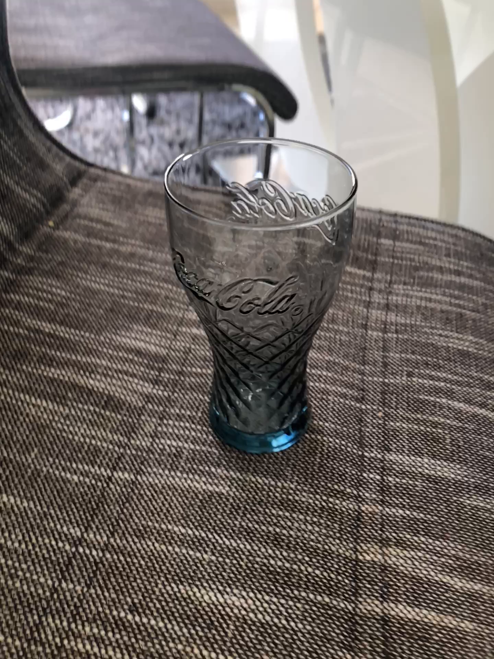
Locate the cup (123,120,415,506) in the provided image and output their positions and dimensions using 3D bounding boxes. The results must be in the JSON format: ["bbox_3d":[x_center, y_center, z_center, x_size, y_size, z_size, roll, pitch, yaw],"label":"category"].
[{"bbox_3d":[0.011,-0.008,0.257,0.080,0.139,0.080,-1,39,1],"label":"cup"}]
